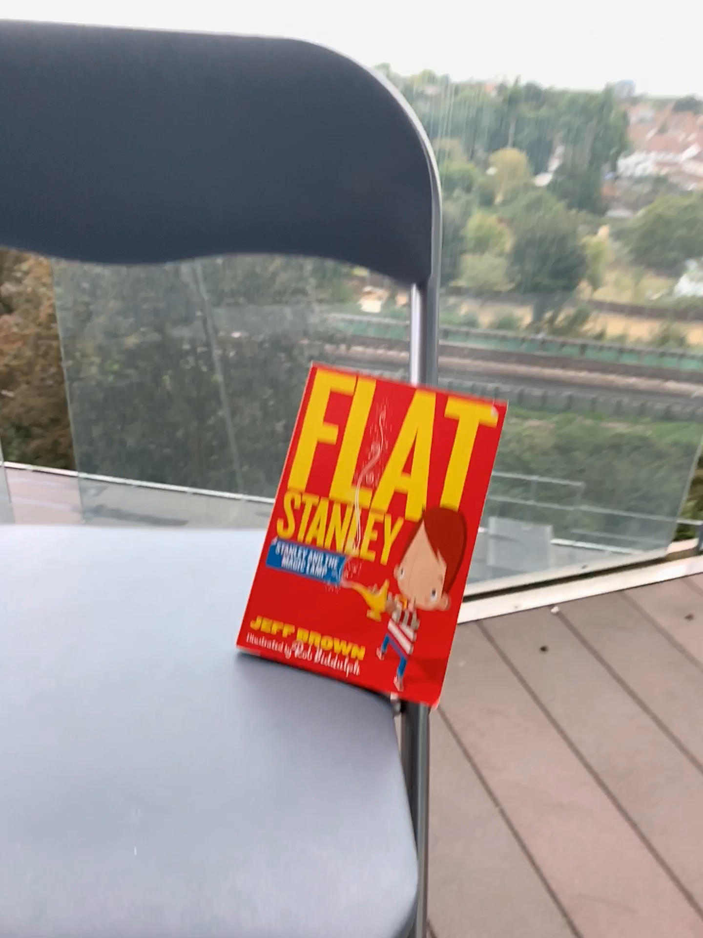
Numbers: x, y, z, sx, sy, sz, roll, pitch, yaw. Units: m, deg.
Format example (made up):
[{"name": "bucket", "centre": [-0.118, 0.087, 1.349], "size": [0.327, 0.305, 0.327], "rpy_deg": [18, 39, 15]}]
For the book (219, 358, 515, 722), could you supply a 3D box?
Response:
[{"name": "book", "centre": [0.009, 0.037, 0.447], "size": [0.140, 0.190, 0.020], "rpy_deg": [12, -6, 17]}]
